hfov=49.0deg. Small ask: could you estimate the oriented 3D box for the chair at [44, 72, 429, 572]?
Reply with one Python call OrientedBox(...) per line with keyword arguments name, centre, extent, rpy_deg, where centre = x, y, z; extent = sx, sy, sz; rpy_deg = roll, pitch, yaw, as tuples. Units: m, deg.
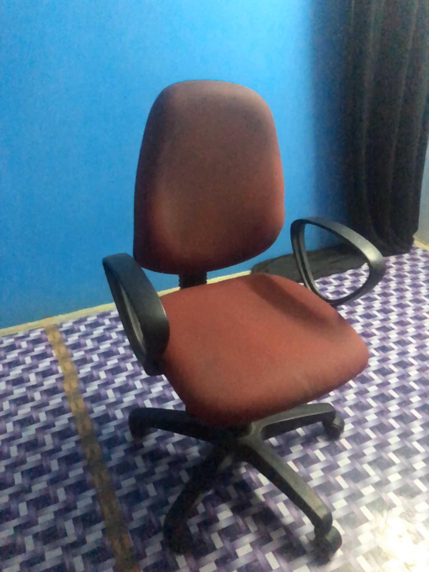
OrientedBox(name="chair", centre=(0.076, 0.046, 1.084), extent=(0.702, 0.895, 0.742), rpy_deg=(-10, 33, -20))
